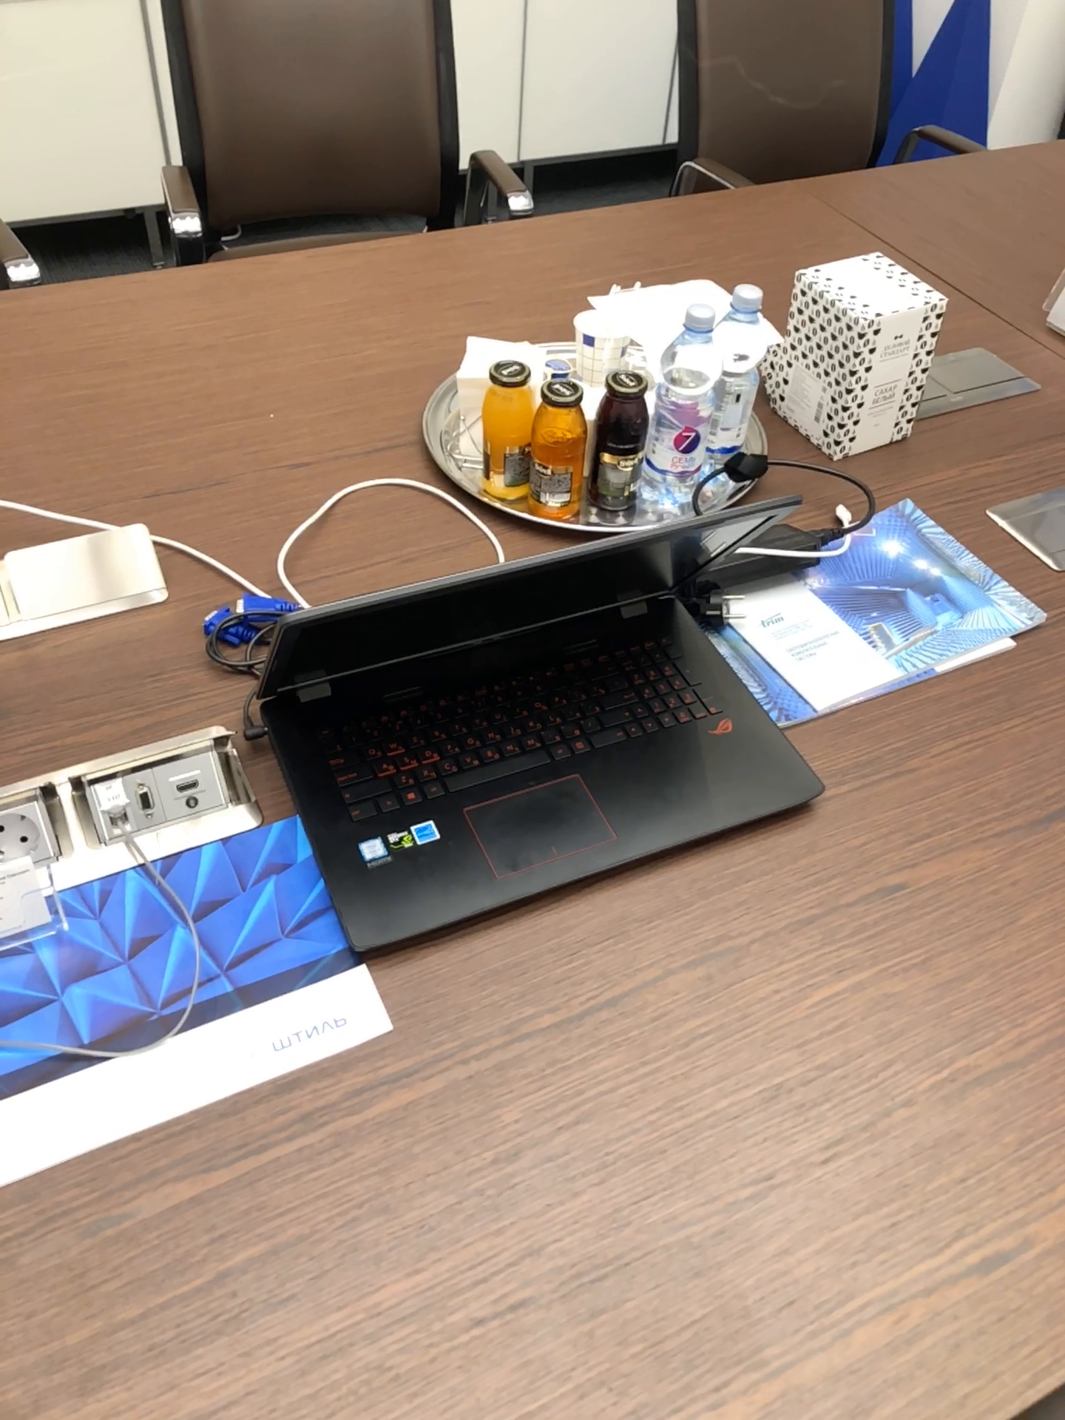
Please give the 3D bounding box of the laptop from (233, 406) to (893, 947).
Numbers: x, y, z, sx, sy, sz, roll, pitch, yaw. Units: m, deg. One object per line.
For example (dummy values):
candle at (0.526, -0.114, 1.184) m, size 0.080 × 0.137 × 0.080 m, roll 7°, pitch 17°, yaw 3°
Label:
laptop at (0.012, -0.039, 0.846) m, size 0.377 × 0.189 × 0.237 m, roll -16°, pitch 50°, yaw -19°
